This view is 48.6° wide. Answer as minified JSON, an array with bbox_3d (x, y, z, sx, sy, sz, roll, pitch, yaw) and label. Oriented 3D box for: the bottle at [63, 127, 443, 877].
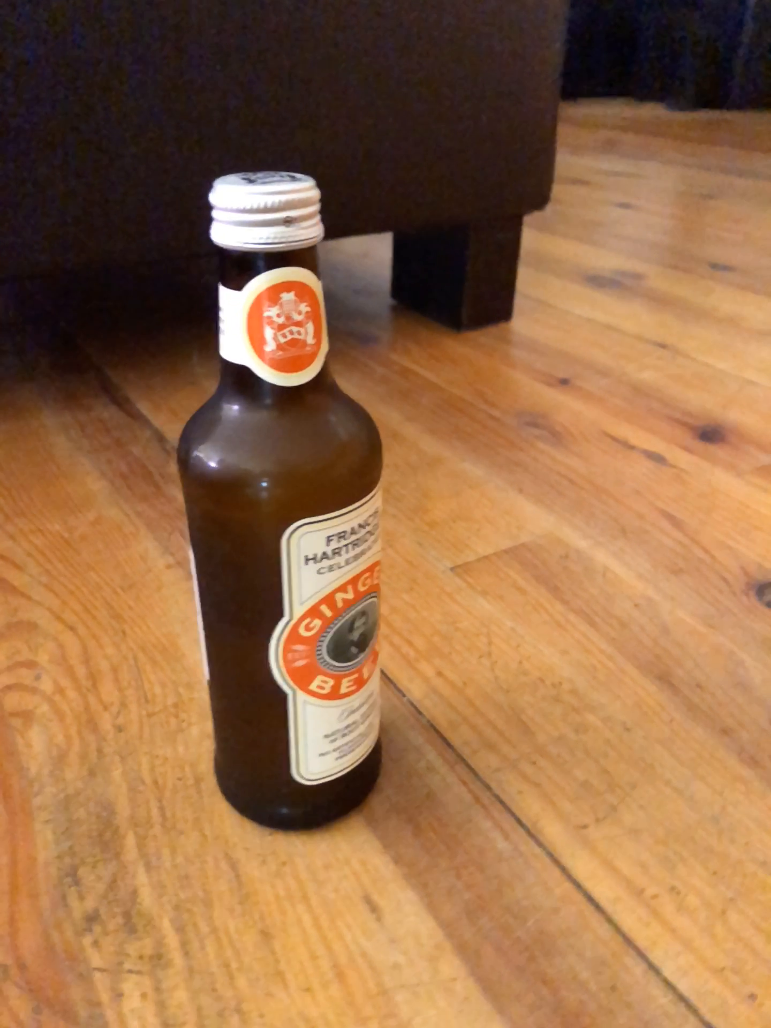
[{"bbox_3d":[-0.032,0.001,0.260,0.060,0.209,0.070,24,37,35],"label":"bottle"}]
